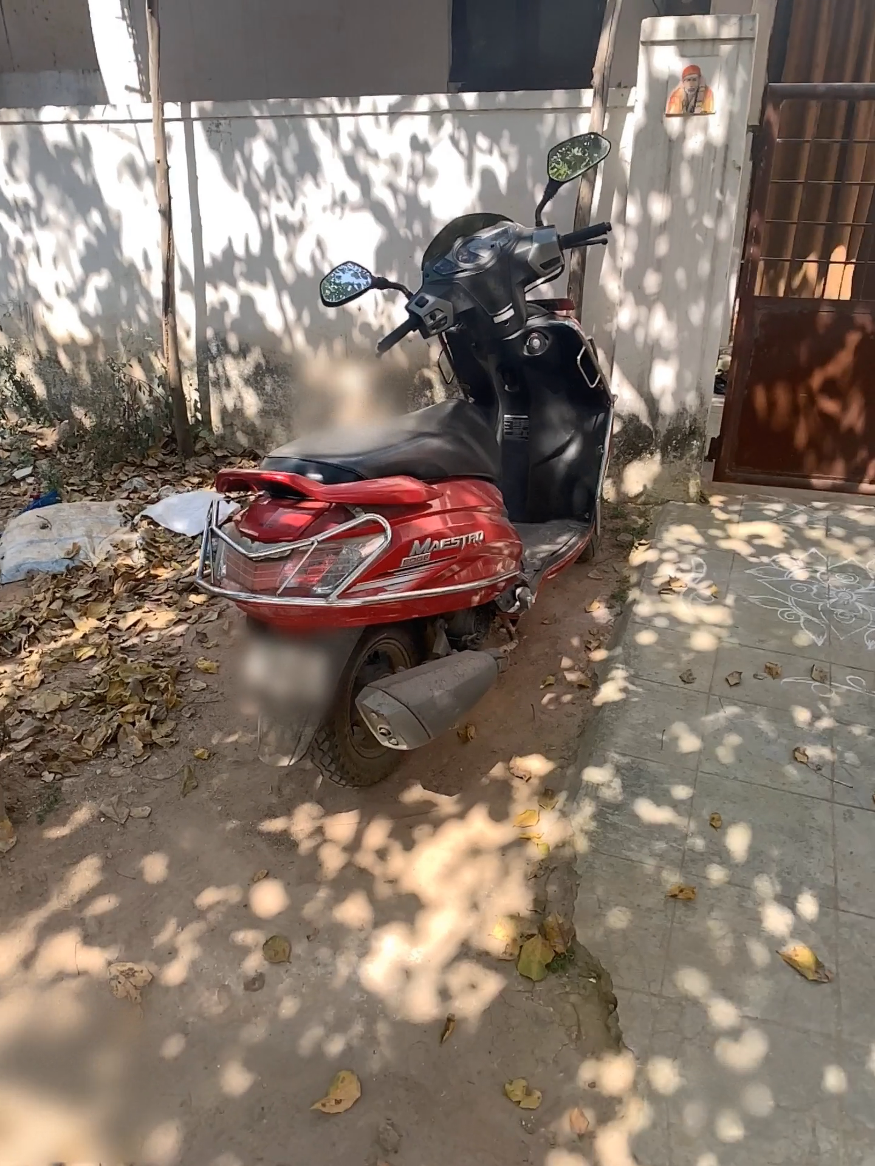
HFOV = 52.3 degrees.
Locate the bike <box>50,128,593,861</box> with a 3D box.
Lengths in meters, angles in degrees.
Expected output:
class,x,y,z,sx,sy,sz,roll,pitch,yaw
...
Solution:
class,x,y,z,sx,sy,sz,roll,pitch,yaw
bike,-0.117,-0.476,2.479,0.735,1.155,1.767,8,34,17
